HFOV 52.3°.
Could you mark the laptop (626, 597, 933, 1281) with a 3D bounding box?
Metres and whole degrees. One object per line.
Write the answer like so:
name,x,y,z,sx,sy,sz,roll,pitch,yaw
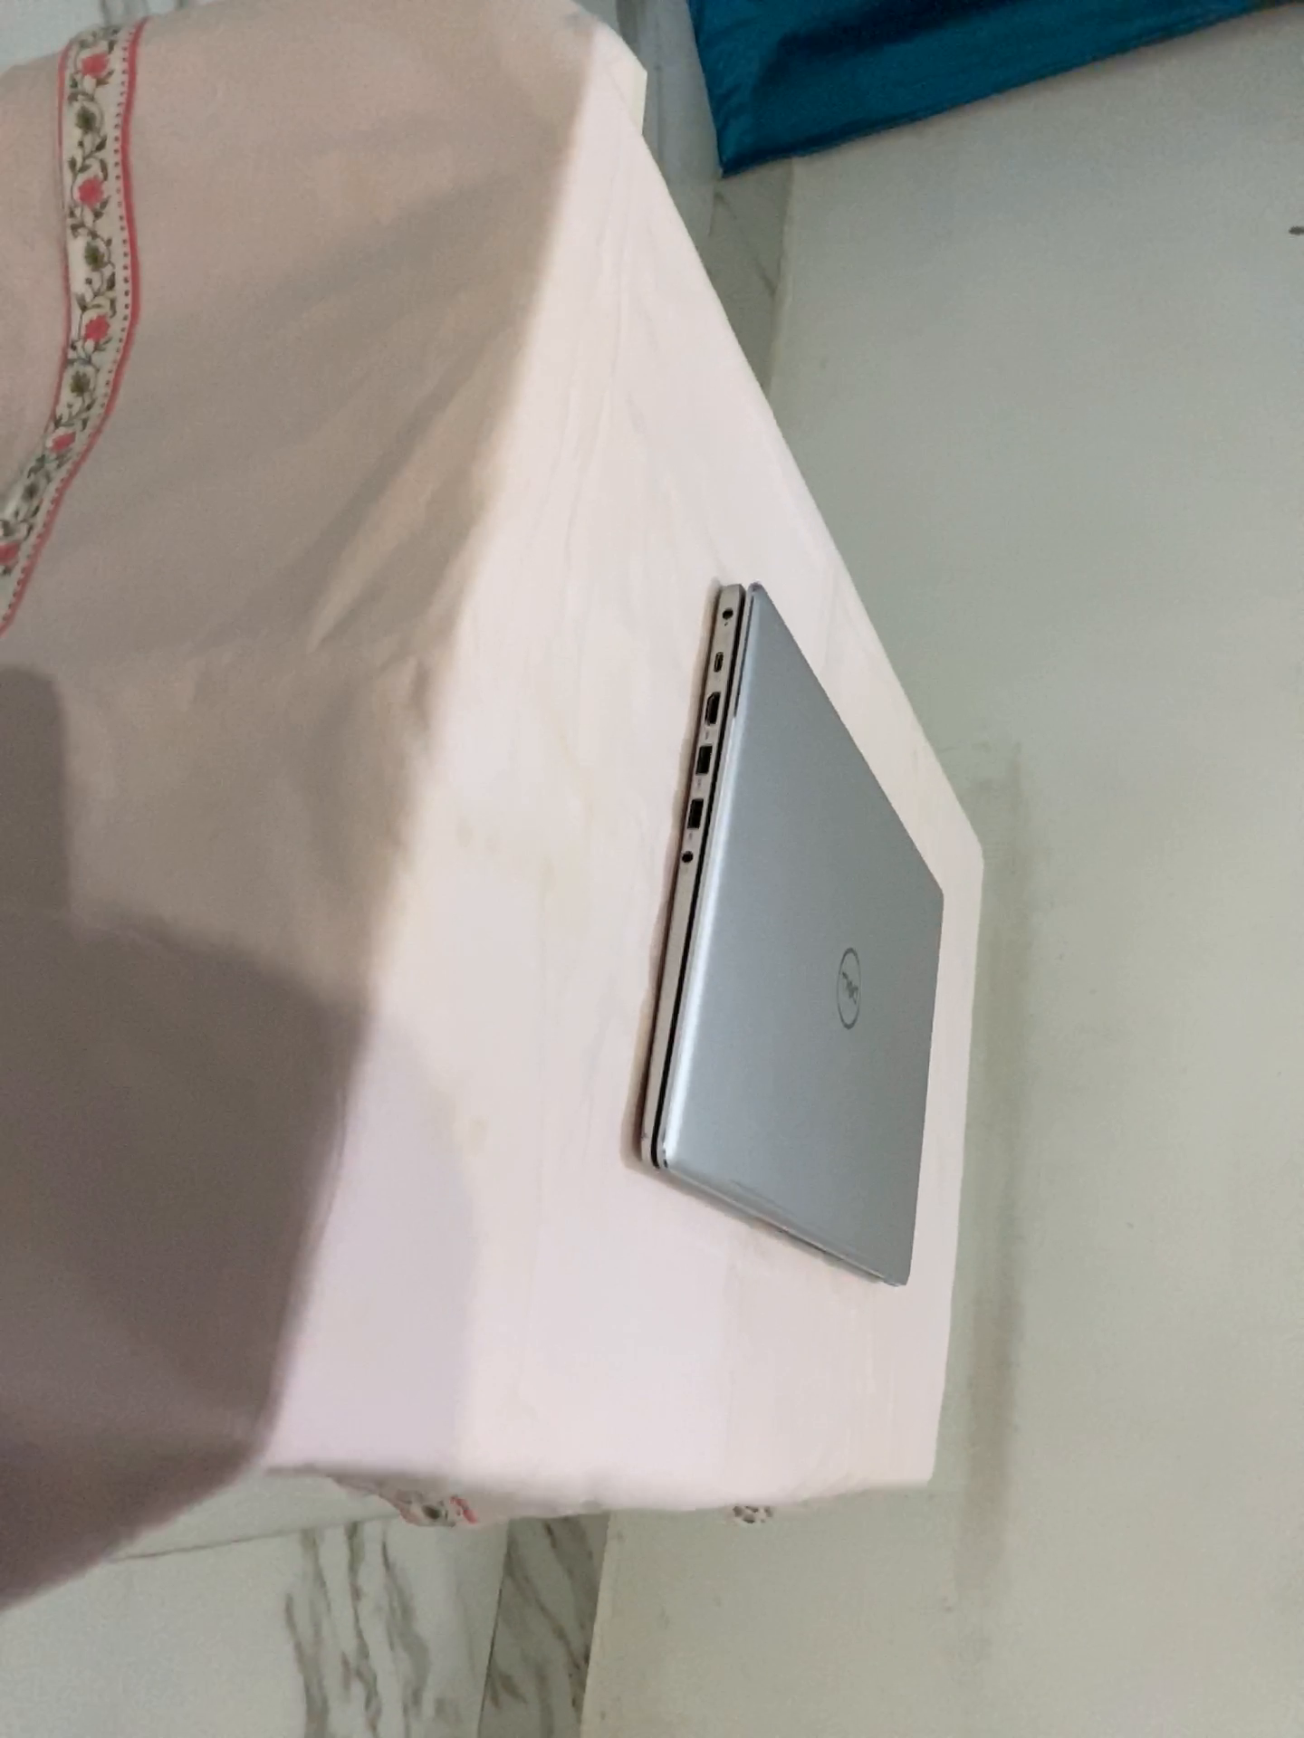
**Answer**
laptop,0.085,0.063,0.656,0.361,0.004,0.236,44,53,-58
